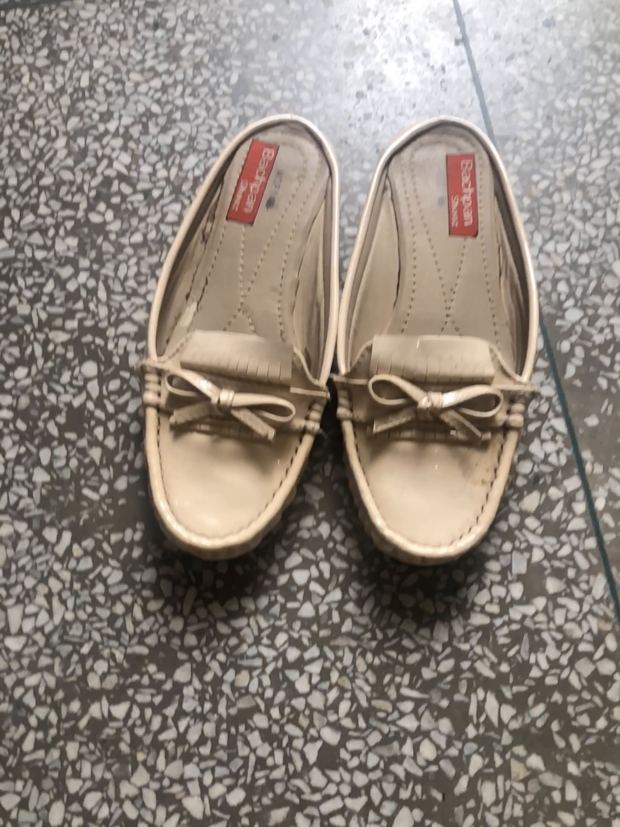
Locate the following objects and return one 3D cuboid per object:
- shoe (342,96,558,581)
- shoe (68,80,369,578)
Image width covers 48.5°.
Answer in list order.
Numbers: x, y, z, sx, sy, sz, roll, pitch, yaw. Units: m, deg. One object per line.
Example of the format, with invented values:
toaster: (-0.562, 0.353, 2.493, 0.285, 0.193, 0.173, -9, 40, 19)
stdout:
shoe: (0.063, -0.037, 0.308, 0.080, 0.040, 0.210, 5, 76, 3)
shoe: (-0.034, -0.043, 0.320, 0.090, 0.040, 0.220, 9, 76, 4)
